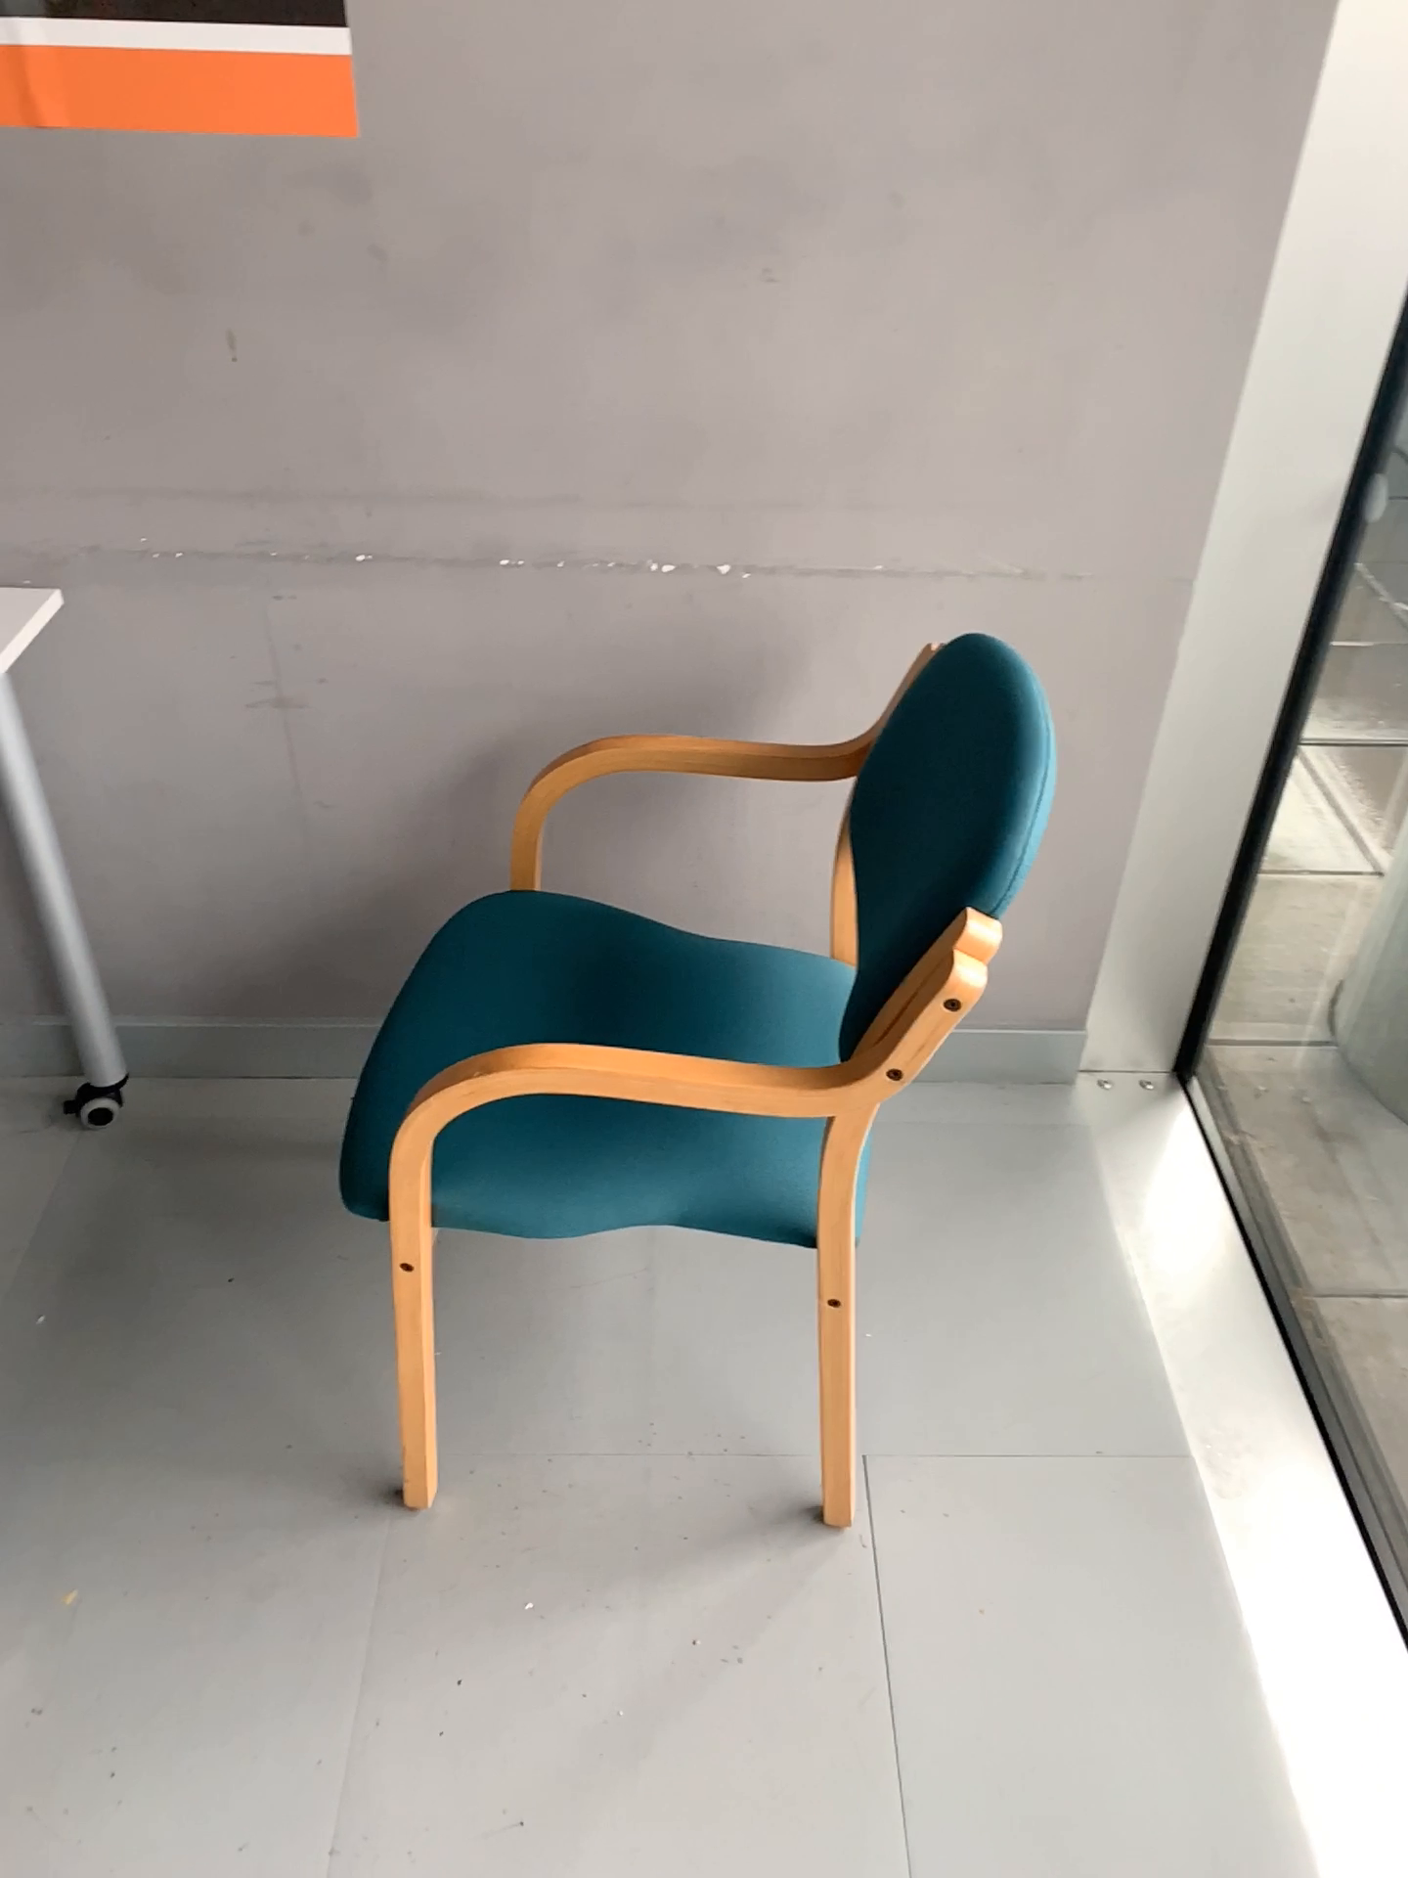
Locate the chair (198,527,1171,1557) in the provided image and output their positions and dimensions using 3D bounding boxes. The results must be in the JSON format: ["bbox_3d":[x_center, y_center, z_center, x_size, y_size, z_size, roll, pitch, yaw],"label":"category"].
[{"bbox_3d":[-0.014,0.080,1.430,0.640,0.722,0.687,2,37,0],"label":"chair"}]
